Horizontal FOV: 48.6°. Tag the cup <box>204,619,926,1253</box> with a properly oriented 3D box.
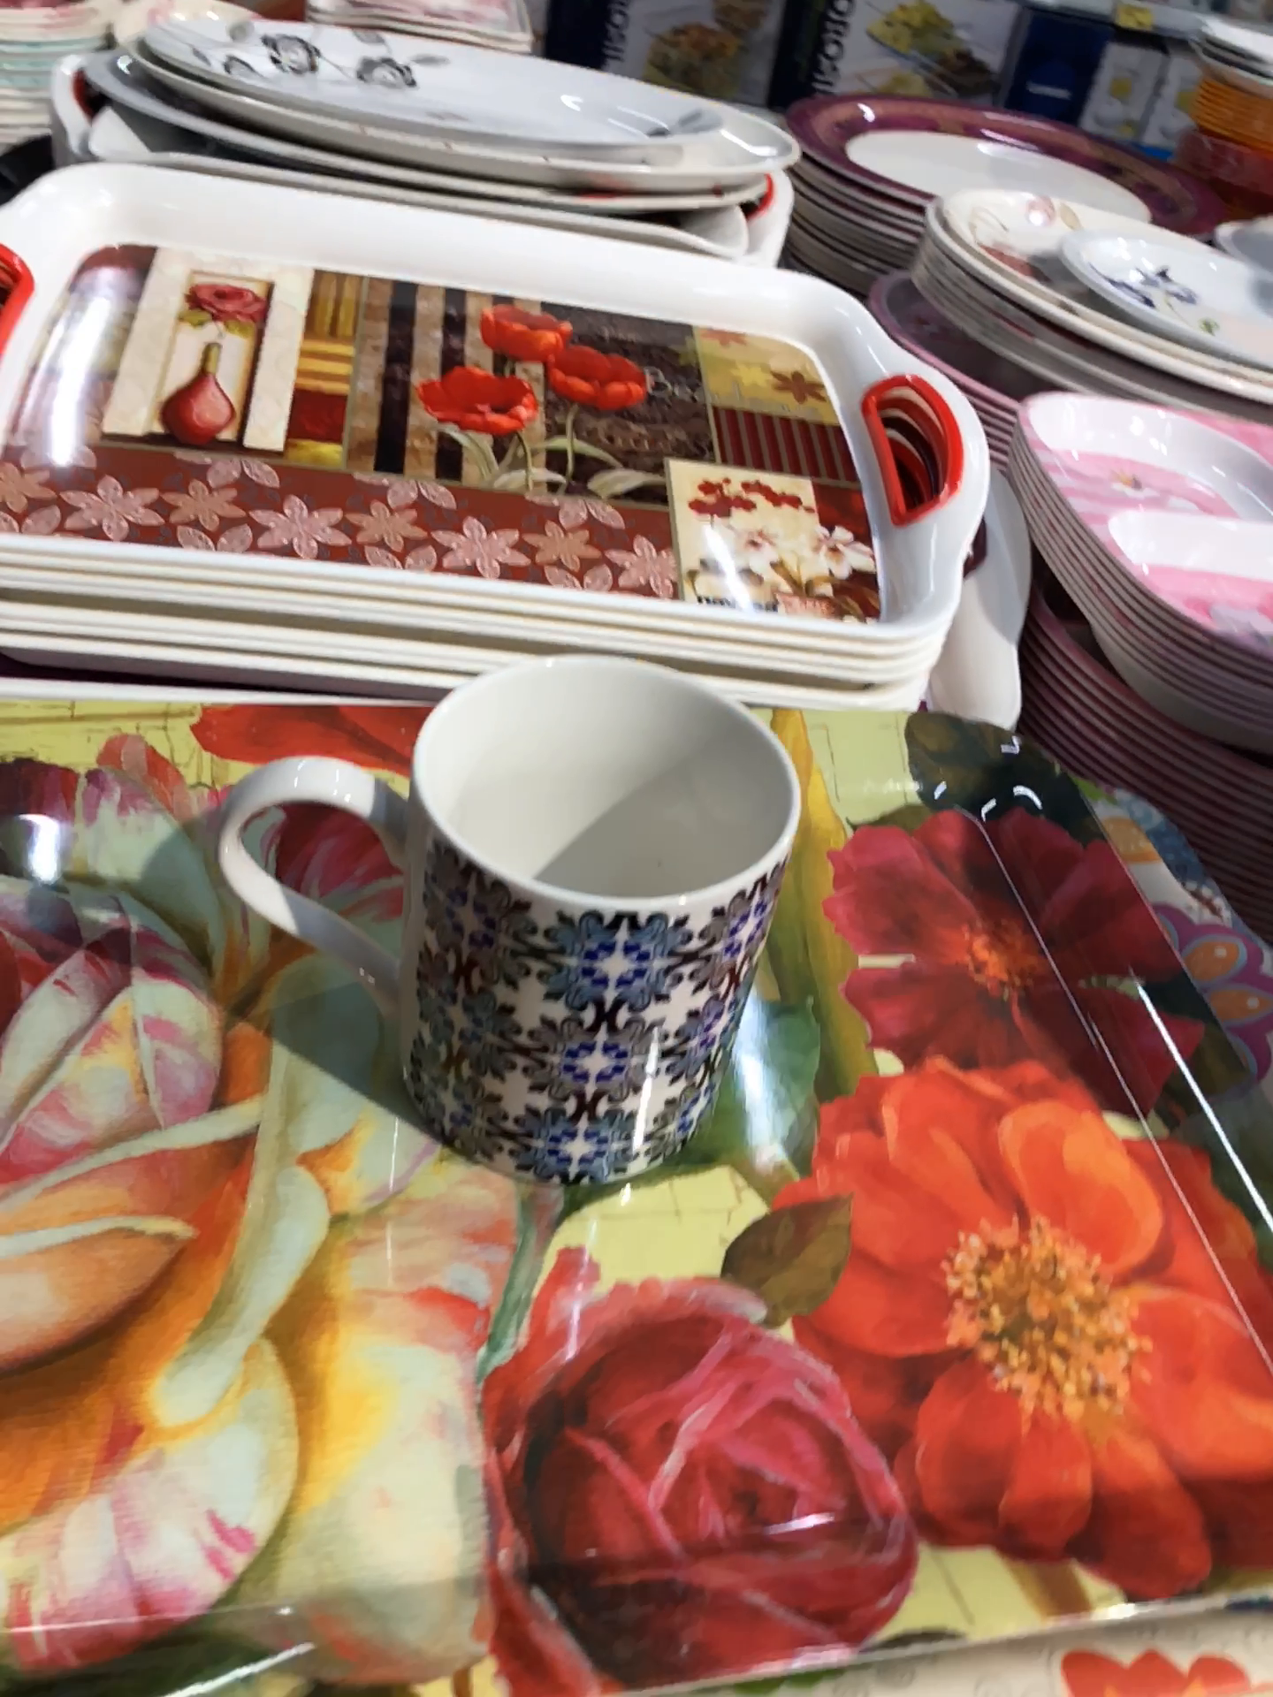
[{"bbox_3d":[-0.024,0.020,0.315,0.130,0.099,0.091,2,40,-14],"label":"cup"}]
